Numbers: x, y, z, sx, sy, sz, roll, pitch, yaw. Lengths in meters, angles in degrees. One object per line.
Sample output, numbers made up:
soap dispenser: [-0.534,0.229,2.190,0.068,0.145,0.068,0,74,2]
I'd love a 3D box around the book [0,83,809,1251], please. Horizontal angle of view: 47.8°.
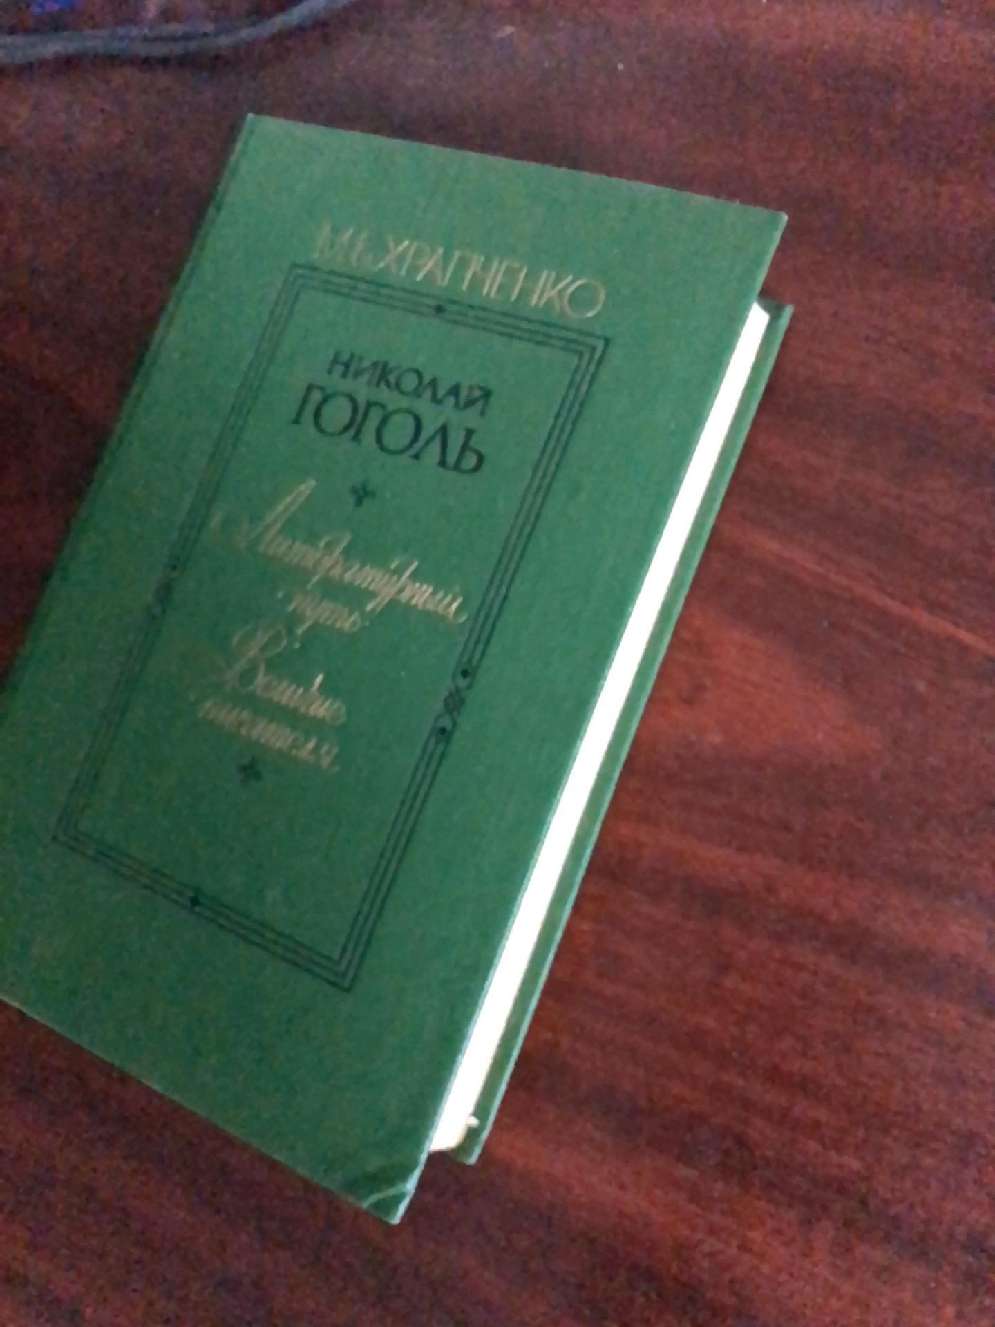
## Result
book: [-0.031,-0.011,0.245,0.129,0.050,0.206,19,84,21]
